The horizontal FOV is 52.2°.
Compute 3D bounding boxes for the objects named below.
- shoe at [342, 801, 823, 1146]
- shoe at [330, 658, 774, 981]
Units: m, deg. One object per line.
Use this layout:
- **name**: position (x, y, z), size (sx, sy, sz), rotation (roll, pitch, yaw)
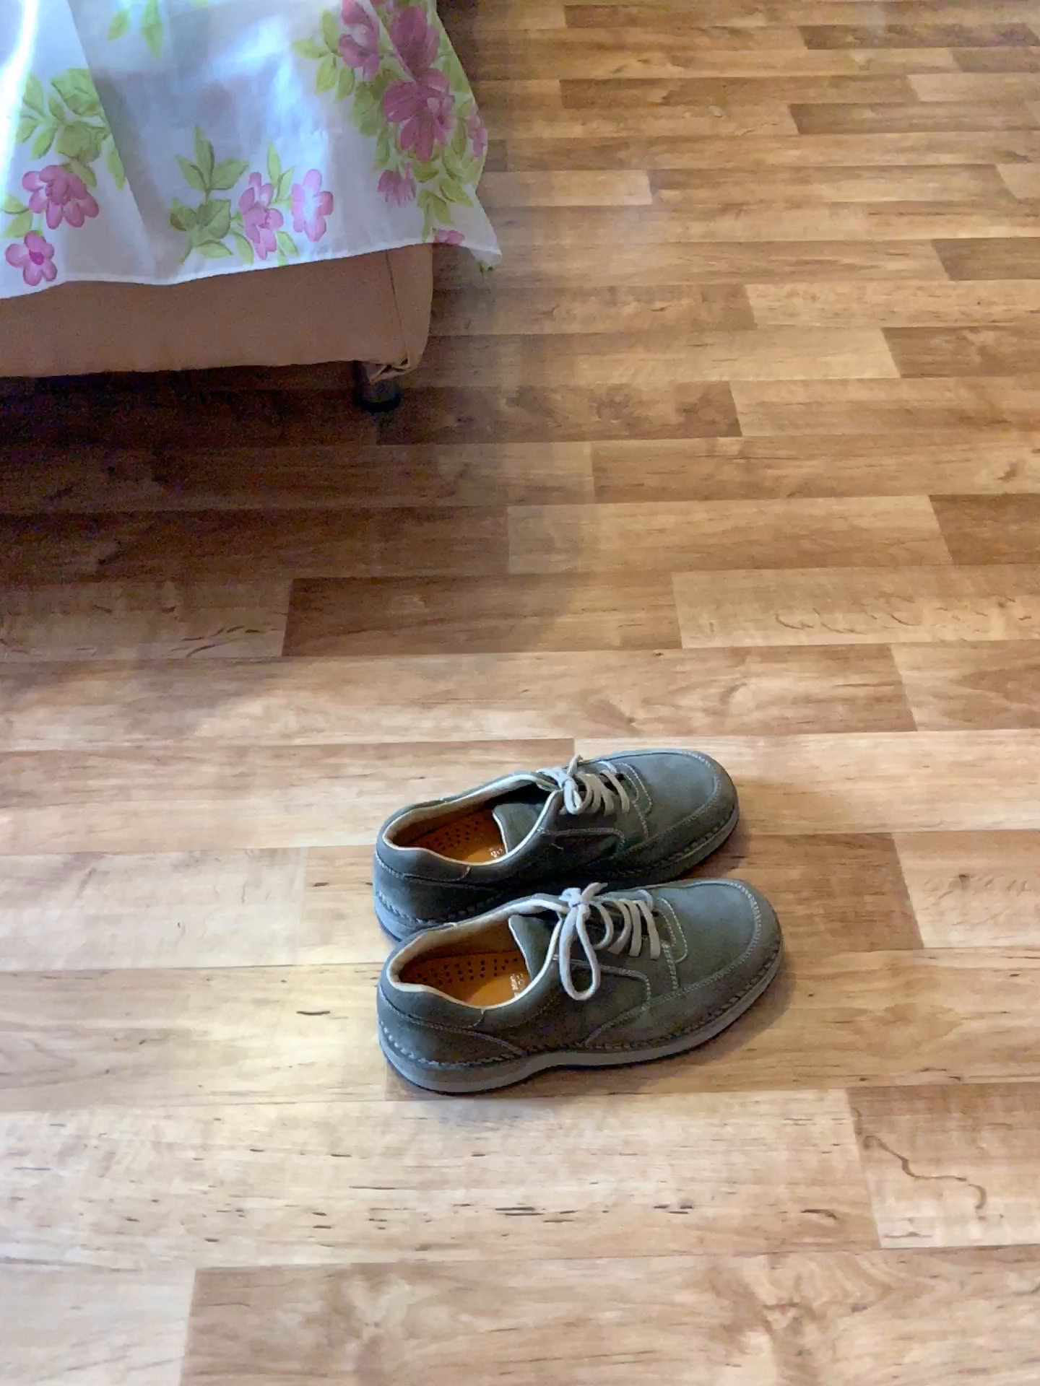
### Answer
- **shoe**: position (0.039, 0.193, 0.739), size (0.290, 0.120, 0.120), rotation (-14, 53, -10)
- **shoe**: position (0.022, 0.091, 0.794), size (0.290, 0.110, 0.120), rotation (-16, 53, -12)
